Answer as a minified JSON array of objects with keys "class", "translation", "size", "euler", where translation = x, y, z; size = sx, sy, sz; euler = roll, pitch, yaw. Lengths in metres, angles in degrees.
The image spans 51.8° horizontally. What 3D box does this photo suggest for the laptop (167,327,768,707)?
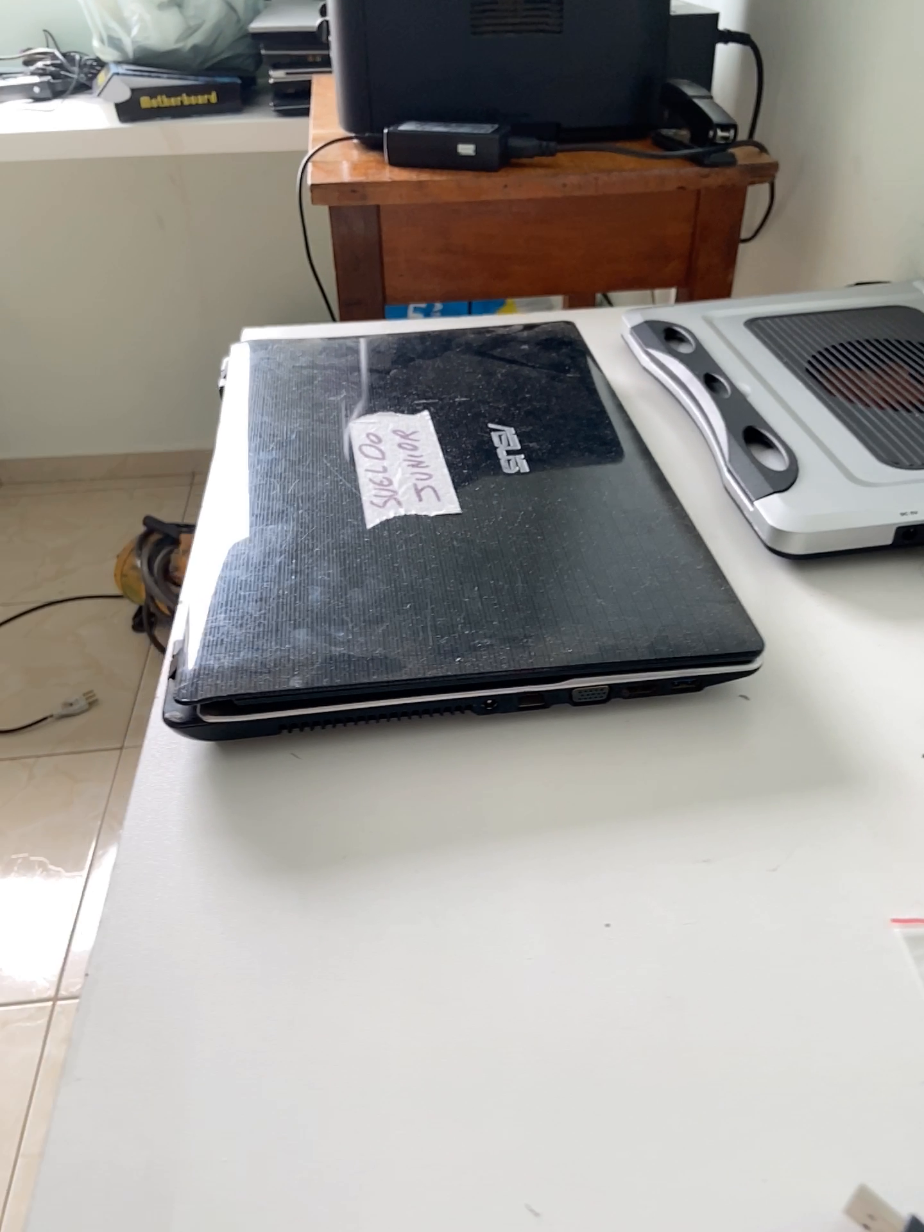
[{"class":"laptop","translation":[-0.019,-0.085,0.517],"size":[0.236,0.001,0.365],"euler":[-6,37,-5]}]
